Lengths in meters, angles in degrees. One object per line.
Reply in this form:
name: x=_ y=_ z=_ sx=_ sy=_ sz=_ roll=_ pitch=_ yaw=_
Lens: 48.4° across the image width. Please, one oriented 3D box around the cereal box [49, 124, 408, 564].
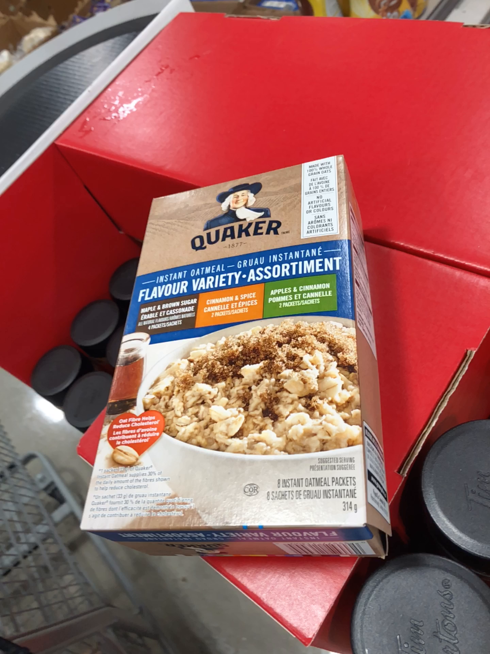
cereal box: x=0.001 y=0.006 z=0.291 sx=0.140 sy=0.070 sz=0.210 roll=-8 pitch=57 yaw=18
